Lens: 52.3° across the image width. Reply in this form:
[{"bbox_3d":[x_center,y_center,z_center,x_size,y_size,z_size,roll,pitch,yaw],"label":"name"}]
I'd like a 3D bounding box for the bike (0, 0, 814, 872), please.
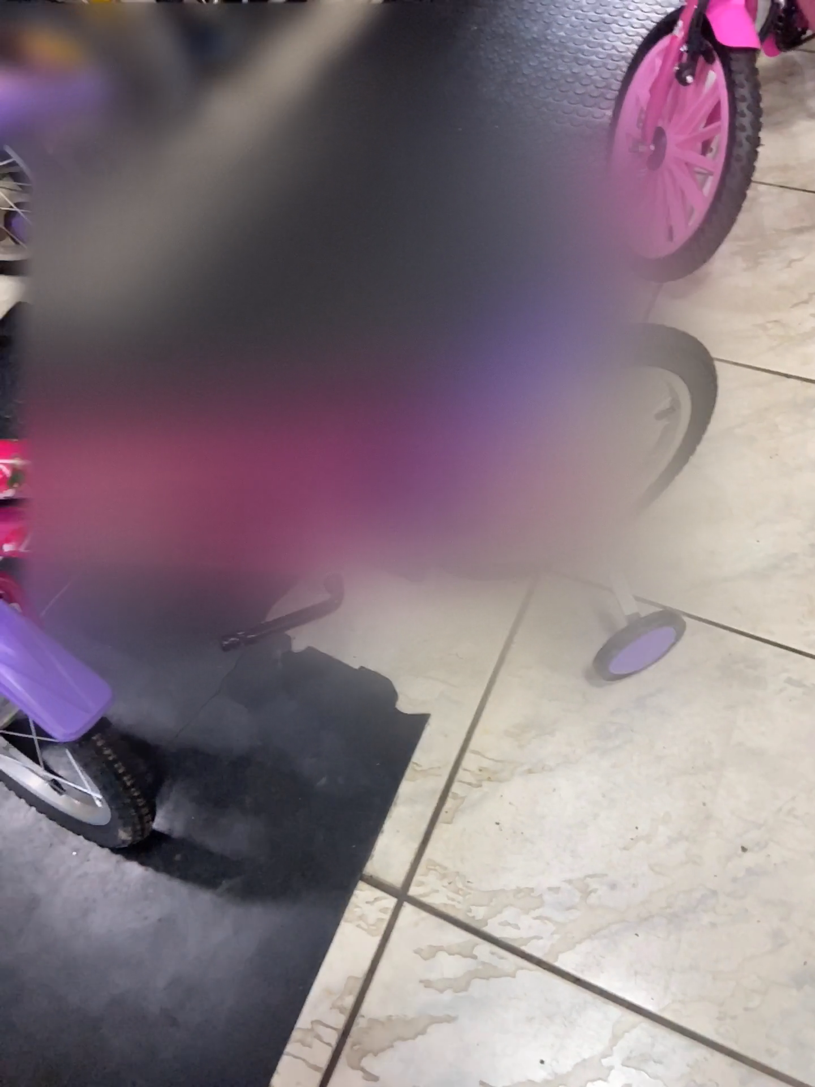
[{"bbox_3d":[-0.184,-0.136,0.823,0.921,0.703,0.548,-18,57,-1],"label":"bike"}]
